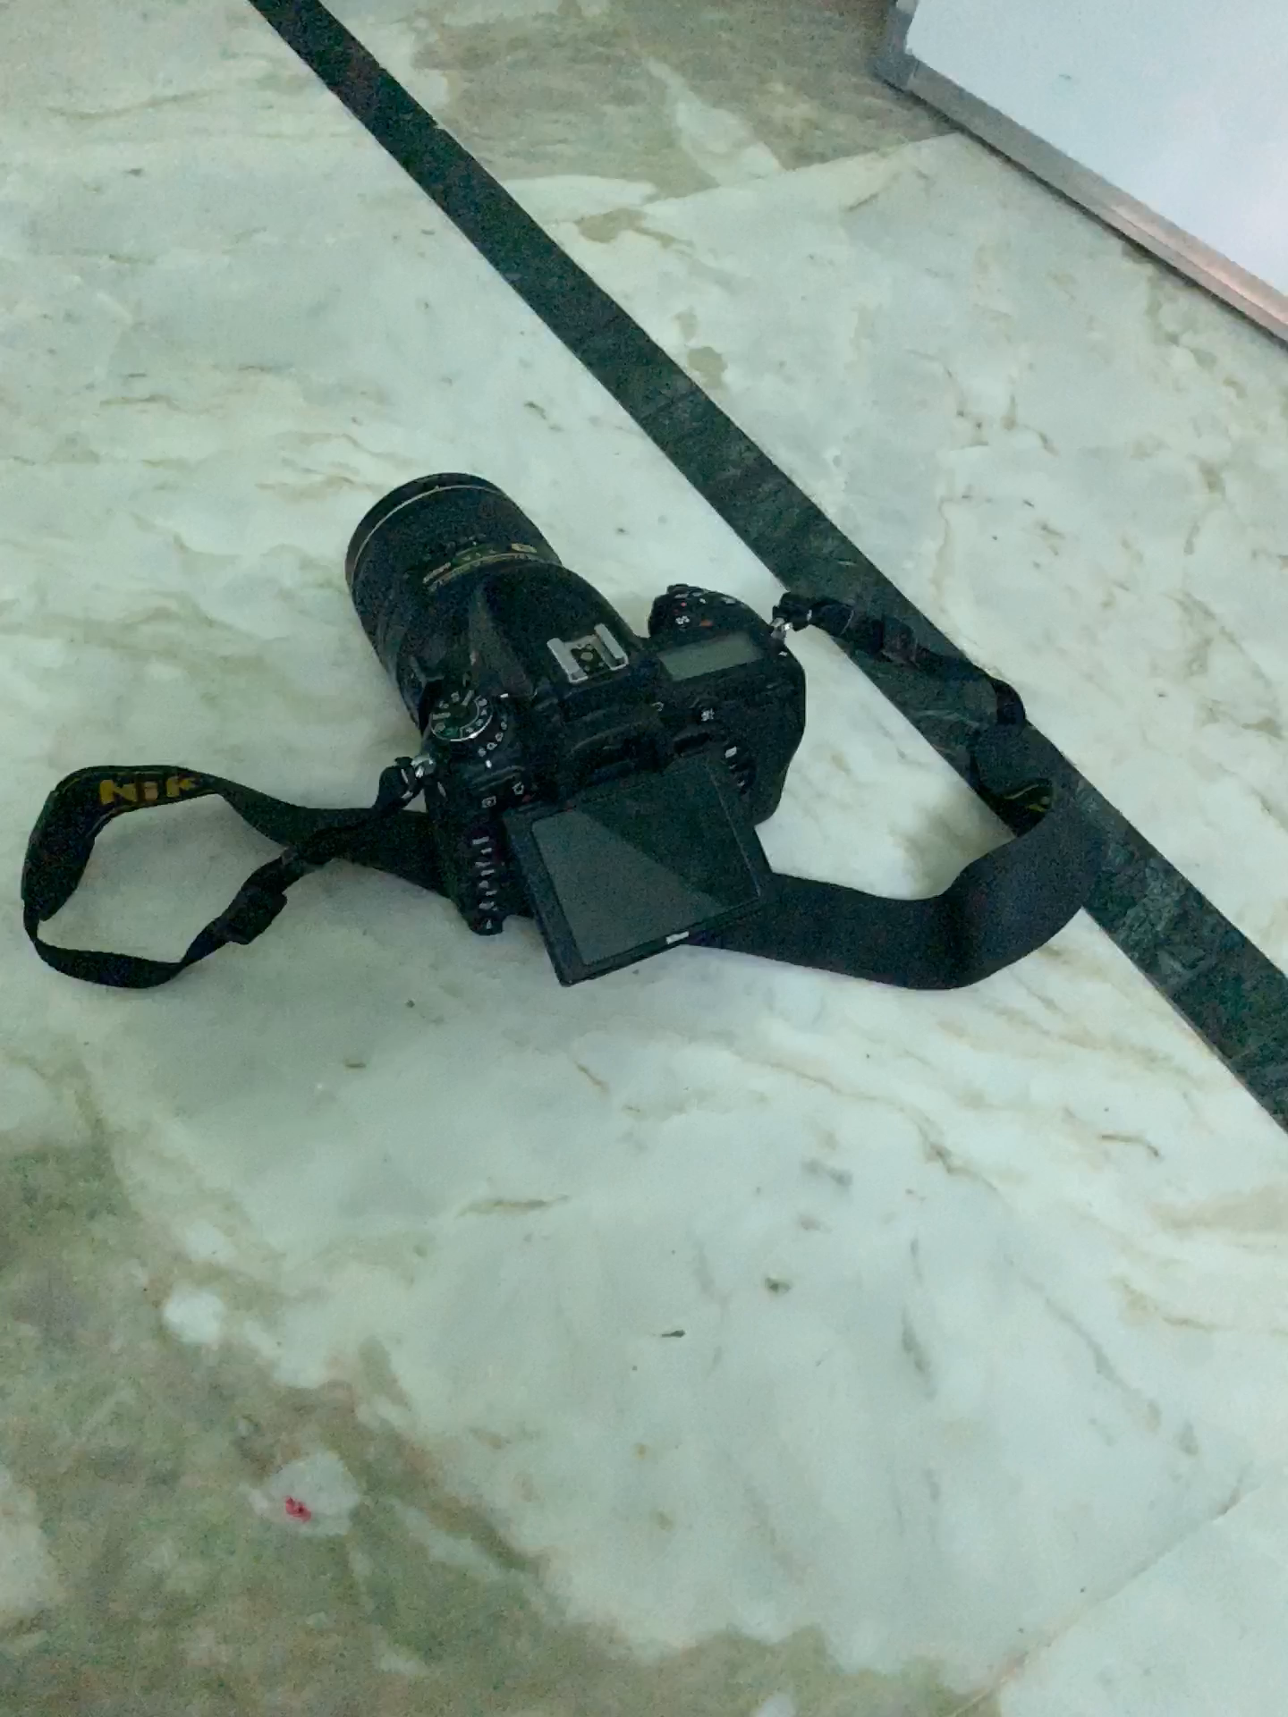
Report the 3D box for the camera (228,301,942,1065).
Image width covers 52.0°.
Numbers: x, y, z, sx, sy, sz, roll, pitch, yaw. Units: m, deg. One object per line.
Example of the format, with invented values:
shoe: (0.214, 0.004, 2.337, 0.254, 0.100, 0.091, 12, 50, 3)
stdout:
camera: (-0.035, -0.080, 0.483, 0.147, 0.100, 0.258, -20, 55, -18)
